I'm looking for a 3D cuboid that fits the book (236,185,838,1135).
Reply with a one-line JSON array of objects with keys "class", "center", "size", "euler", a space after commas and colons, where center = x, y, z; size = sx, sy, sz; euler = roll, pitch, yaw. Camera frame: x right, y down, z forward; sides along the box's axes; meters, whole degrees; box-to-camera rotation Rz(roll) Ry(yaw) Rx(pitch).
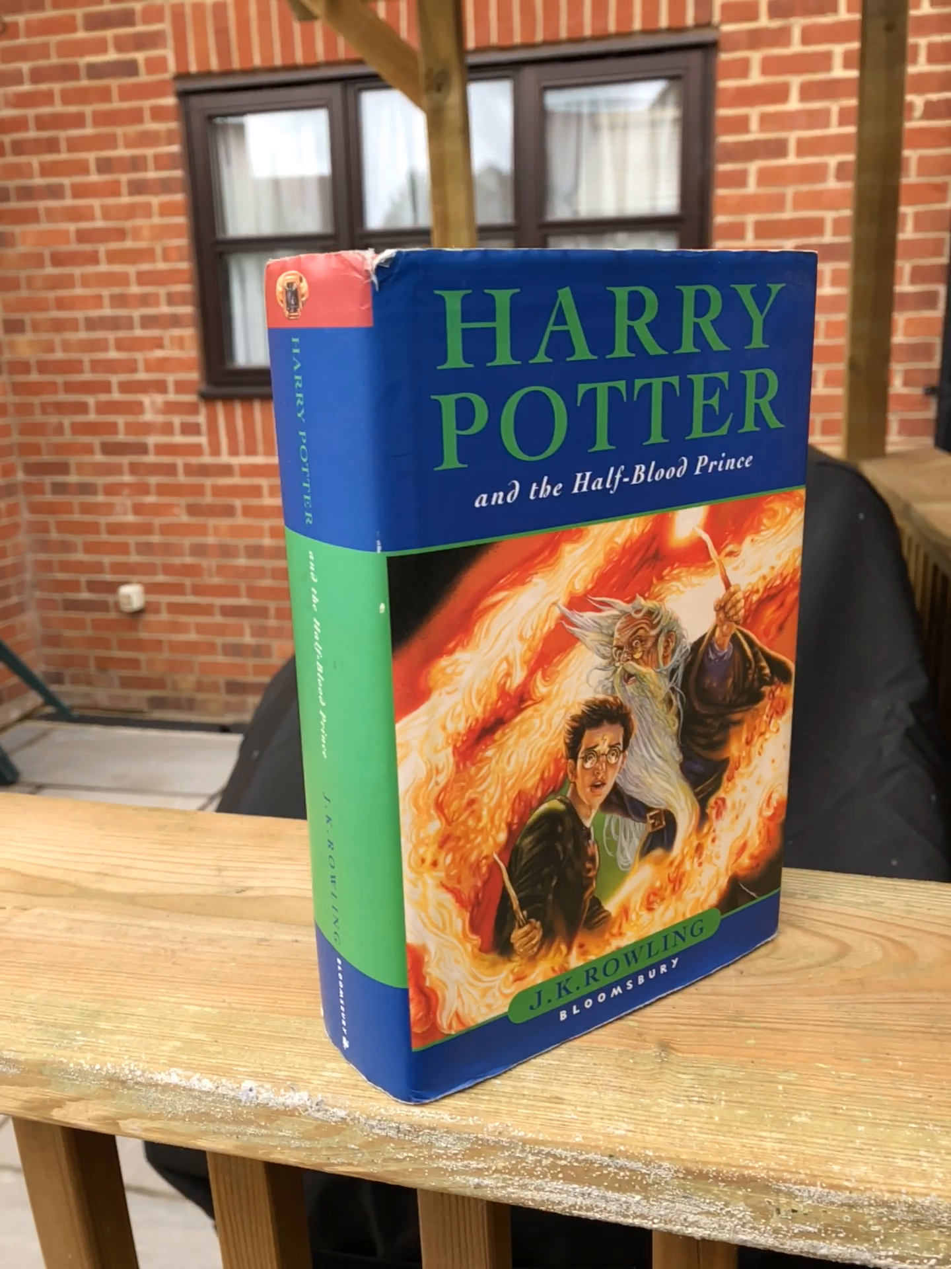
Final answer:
[{"class": "book", "center": [0.020, 0.000, 0.286], "size": [0.140, 0.209, 0.060], "euler": [-10, 17, -32]}]
